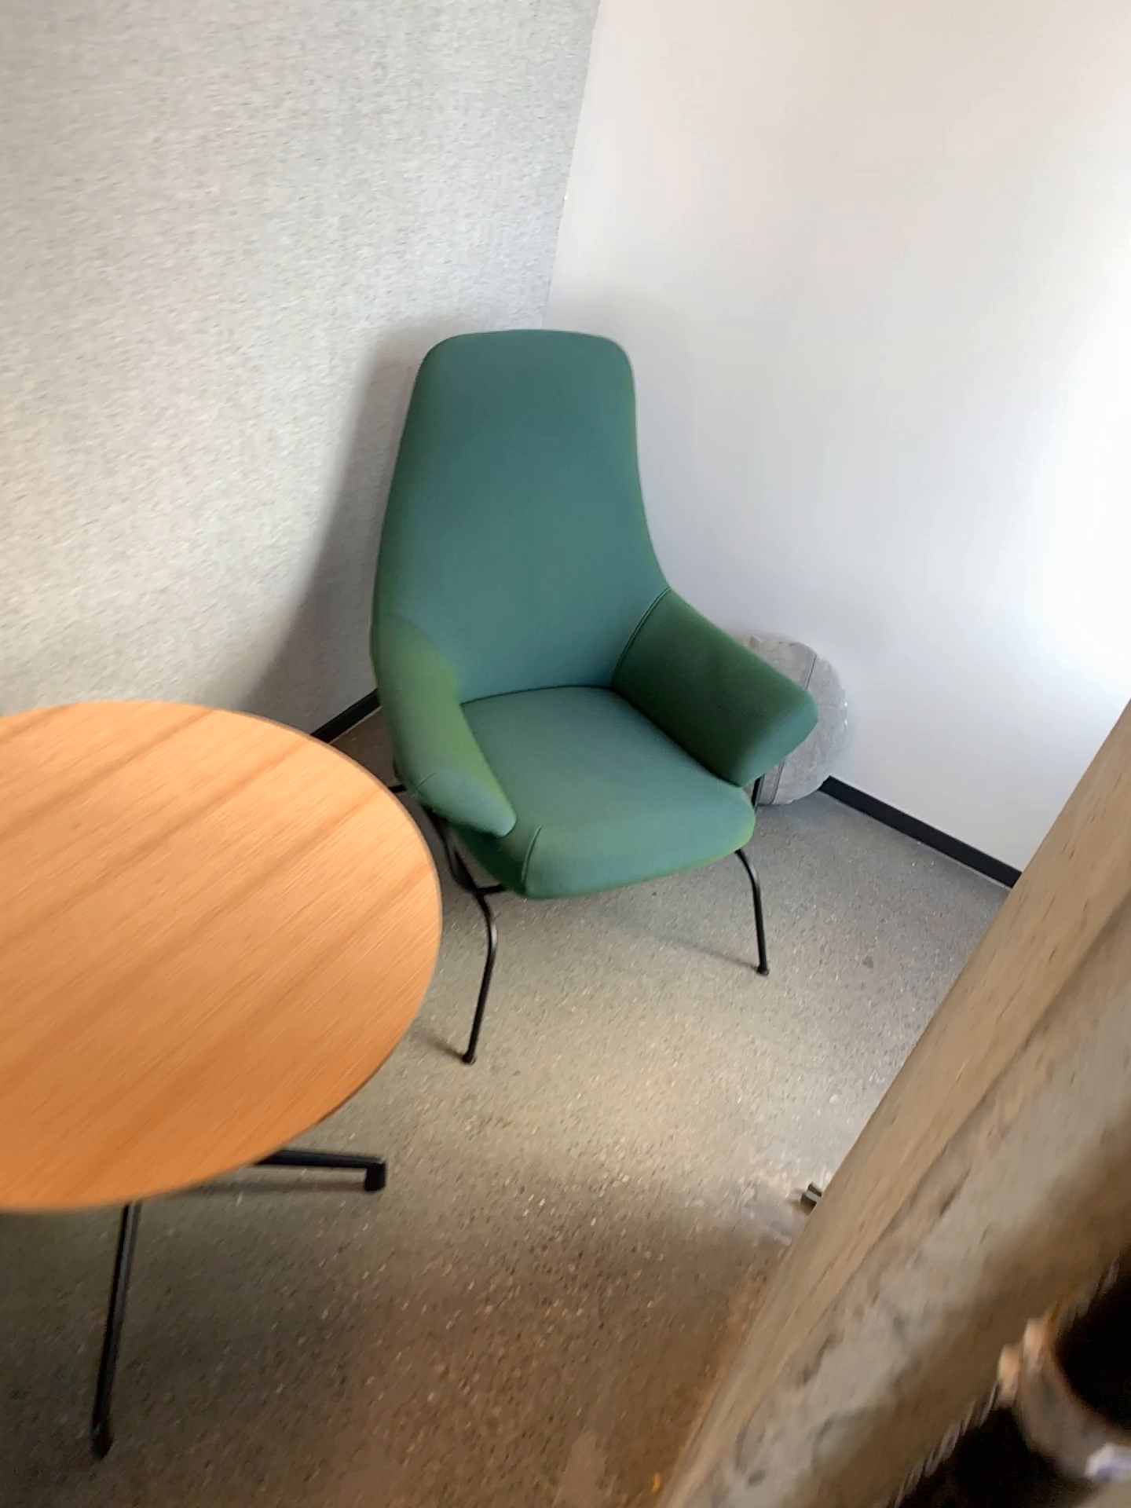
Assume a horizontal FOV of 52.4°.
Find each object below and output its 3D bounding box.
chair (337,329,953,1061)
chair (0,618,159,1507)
[{"bbox_3d":[0.035,-0.133,2.115,0.650,1.014,0.754,-10,43,-26],"label":"chair"},{"bbox_3d":[-0.951,0.613,0.971,0.842,0.994,0.722,30,42,21],"label":"chair"}]
